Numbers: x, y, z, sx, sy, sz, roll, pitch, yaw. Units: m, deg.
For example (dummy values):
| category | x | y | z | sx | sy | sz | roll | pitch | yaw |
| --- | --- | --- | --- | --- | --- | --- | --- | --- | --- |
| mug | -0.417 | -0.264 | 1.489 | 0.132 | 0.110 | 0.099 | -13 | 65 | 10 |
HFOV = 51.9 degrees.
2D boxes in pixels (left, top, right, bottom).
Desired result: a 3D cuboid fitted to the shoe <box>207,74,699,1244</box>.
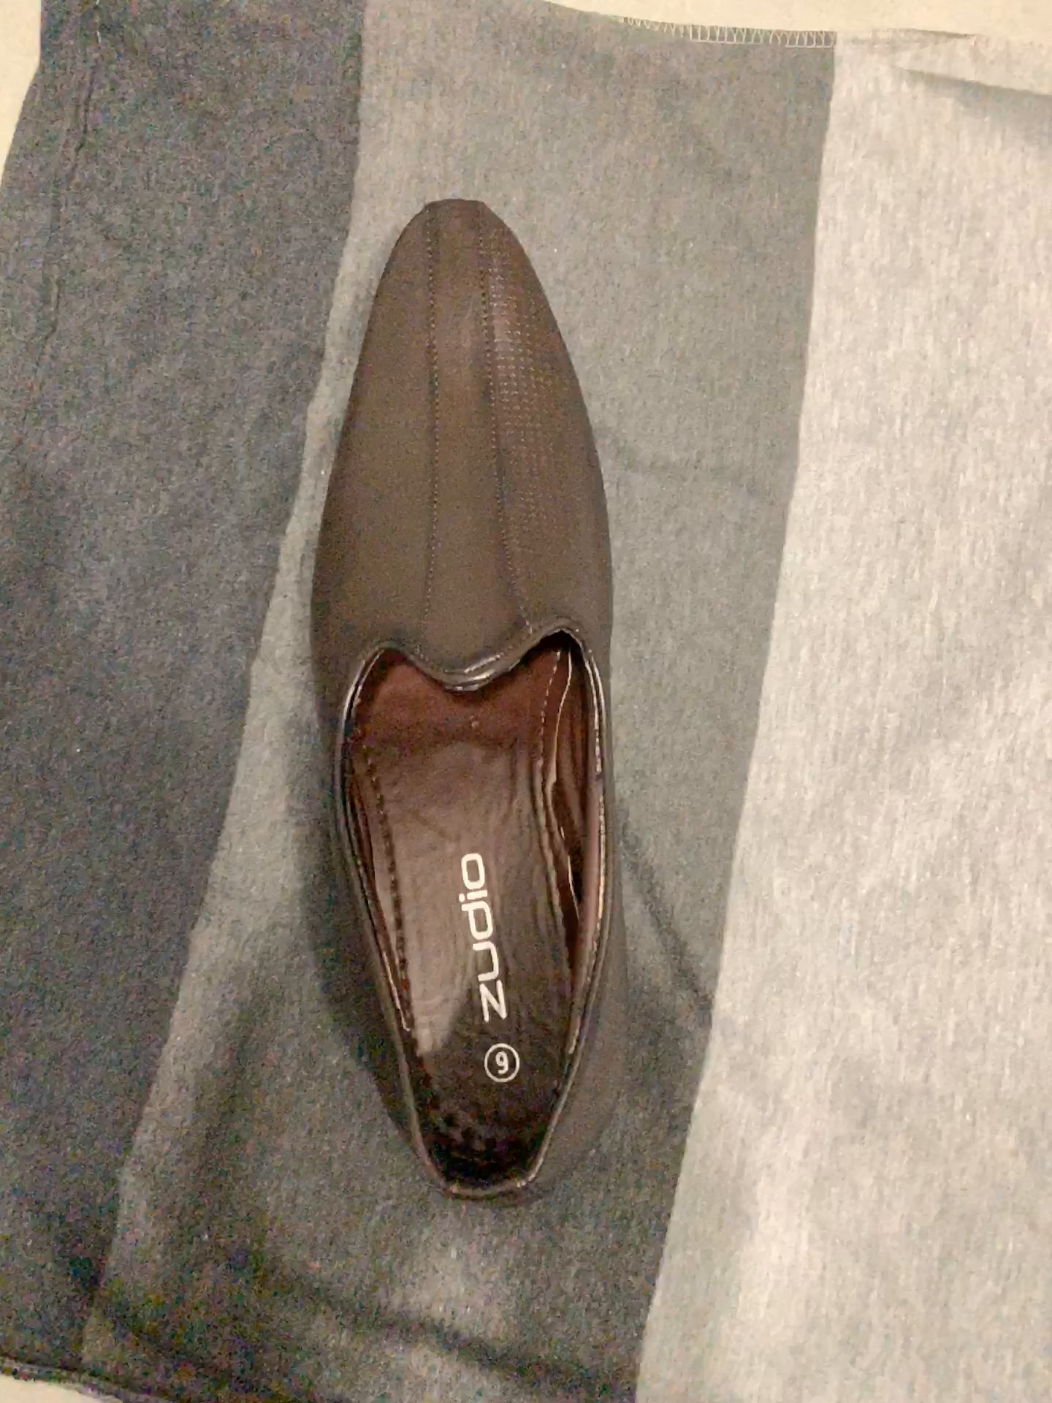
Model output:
| category | x | y | z | sx | sy | sz | roll | pitch | yaw |
| --- | --- | --- | --- | --- | --- | --- | --- | --- | --- |
| shoe | -0.020 | -0.012 | 0.301 | 0.100 | 0.100 | 0.270 | -4 | 81 | 3 |
